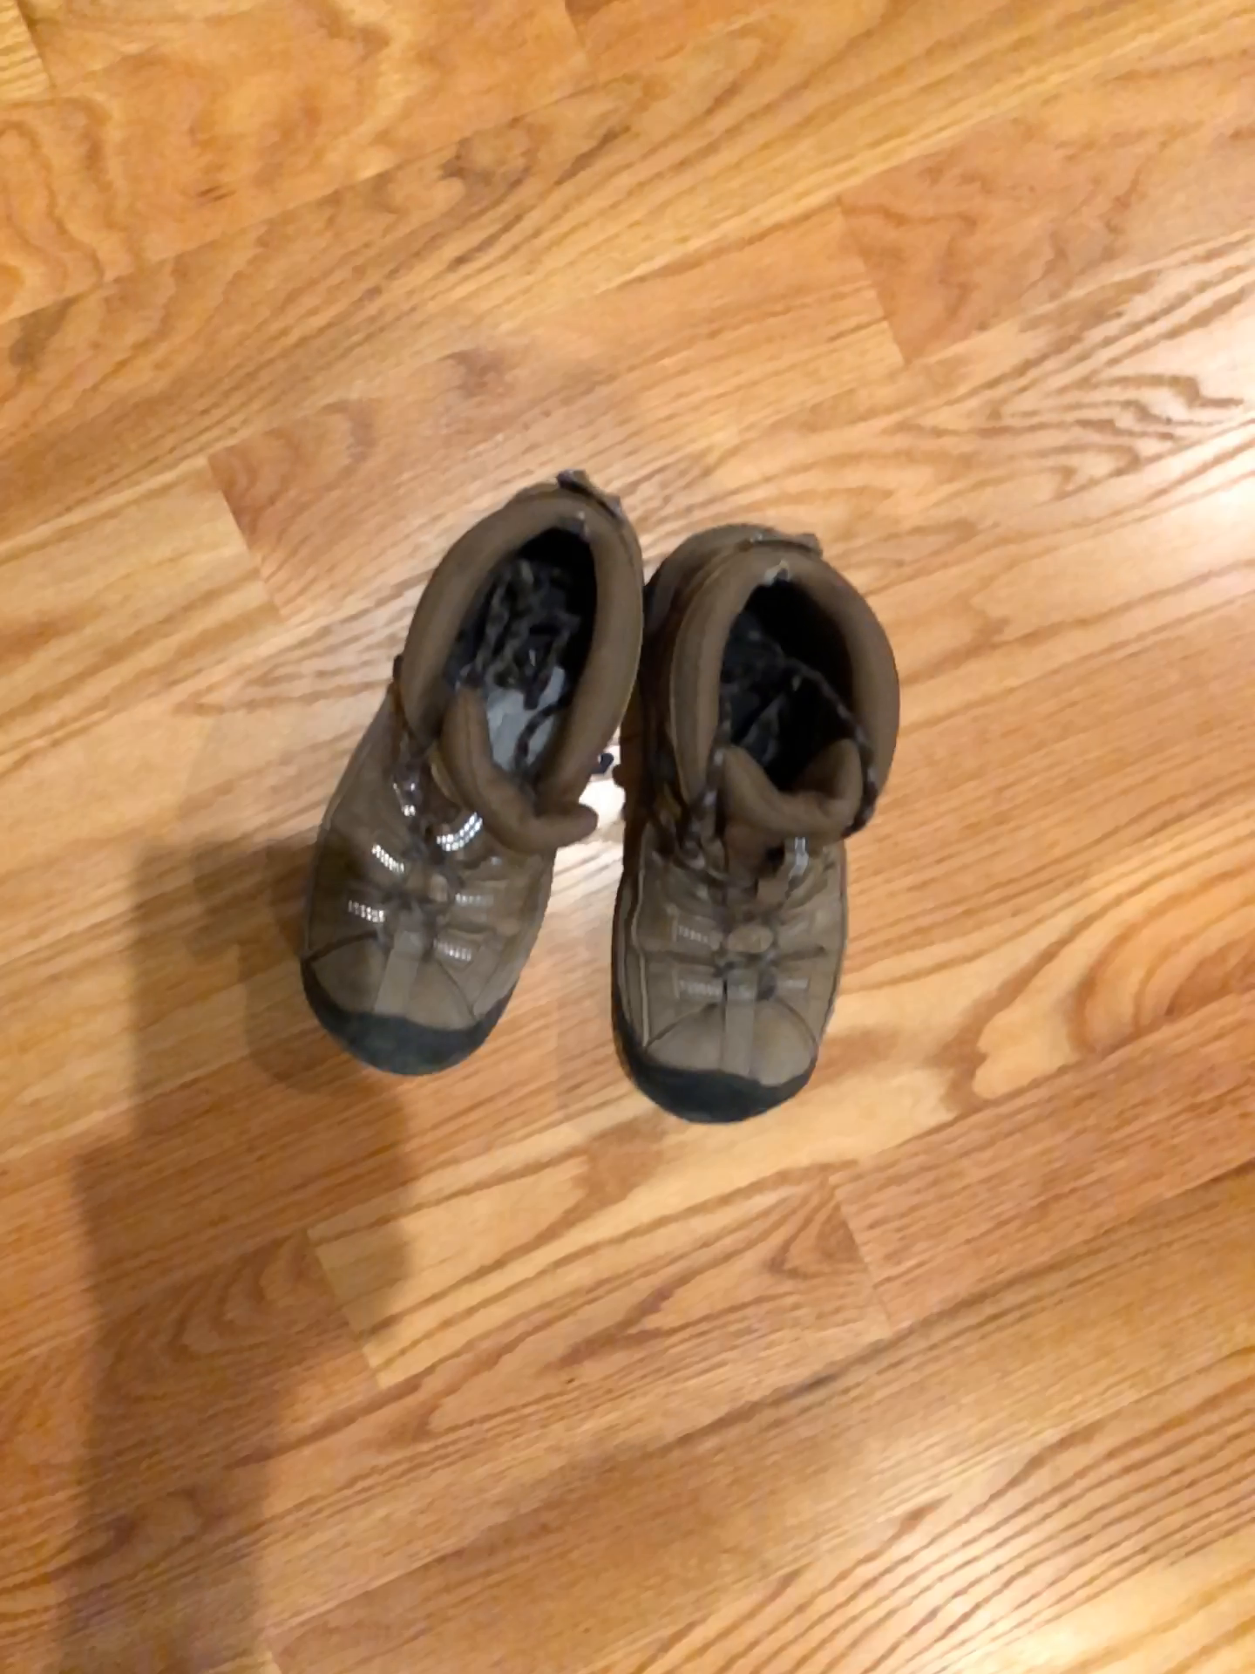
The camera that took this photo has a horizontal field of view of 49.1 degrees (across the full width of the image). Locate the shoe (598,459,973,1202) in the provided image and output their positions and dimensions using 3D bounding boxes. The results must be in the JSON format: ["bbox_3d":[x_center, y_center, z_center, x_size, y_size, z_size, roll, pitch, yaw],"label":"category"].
[{"bbox_3d":[0.055,-0.002,0.559,0.107,0.139,0.259,3,92,-6],"label":"shoe"}]

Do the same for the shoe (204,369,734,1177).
[{"bbox_3d":[-0.061,-0.023,0.546,0.107,0.139,0.259,18,90,-6],"label":"shoe"}]
